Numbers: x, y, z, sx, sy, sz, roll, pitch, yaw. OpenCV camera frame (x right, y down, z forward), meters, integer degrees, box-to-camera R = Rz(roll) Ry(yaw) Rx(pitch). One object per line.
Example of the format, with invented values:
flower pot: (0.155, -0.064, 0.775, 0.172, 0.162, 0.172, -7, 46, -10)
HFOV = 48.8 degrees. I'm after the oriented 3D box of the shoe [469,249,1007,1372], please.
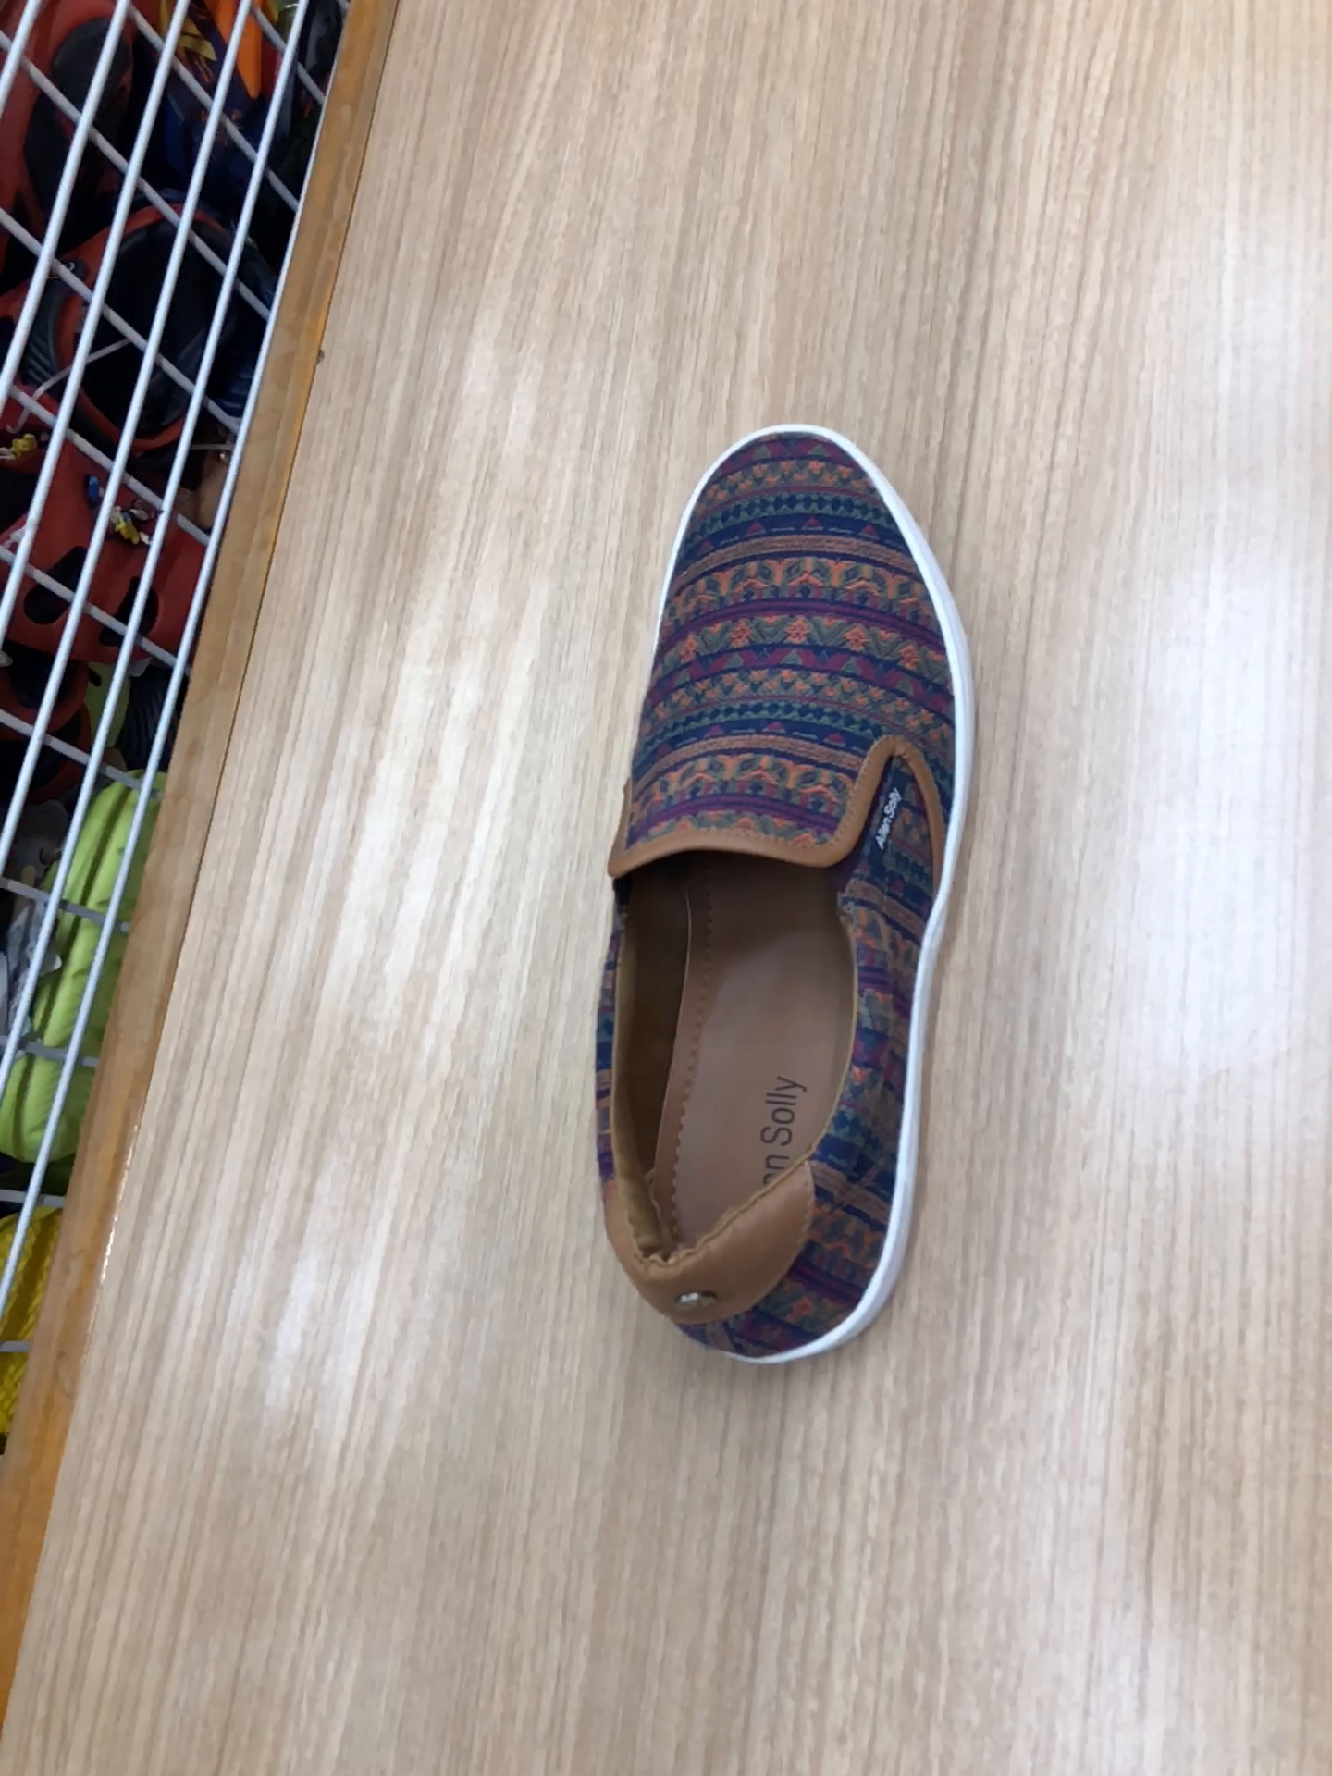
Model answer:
shoe: (0.030, -0.018, 0.393, 0.100, 0.090, 0.270, -1, 73, 22)
